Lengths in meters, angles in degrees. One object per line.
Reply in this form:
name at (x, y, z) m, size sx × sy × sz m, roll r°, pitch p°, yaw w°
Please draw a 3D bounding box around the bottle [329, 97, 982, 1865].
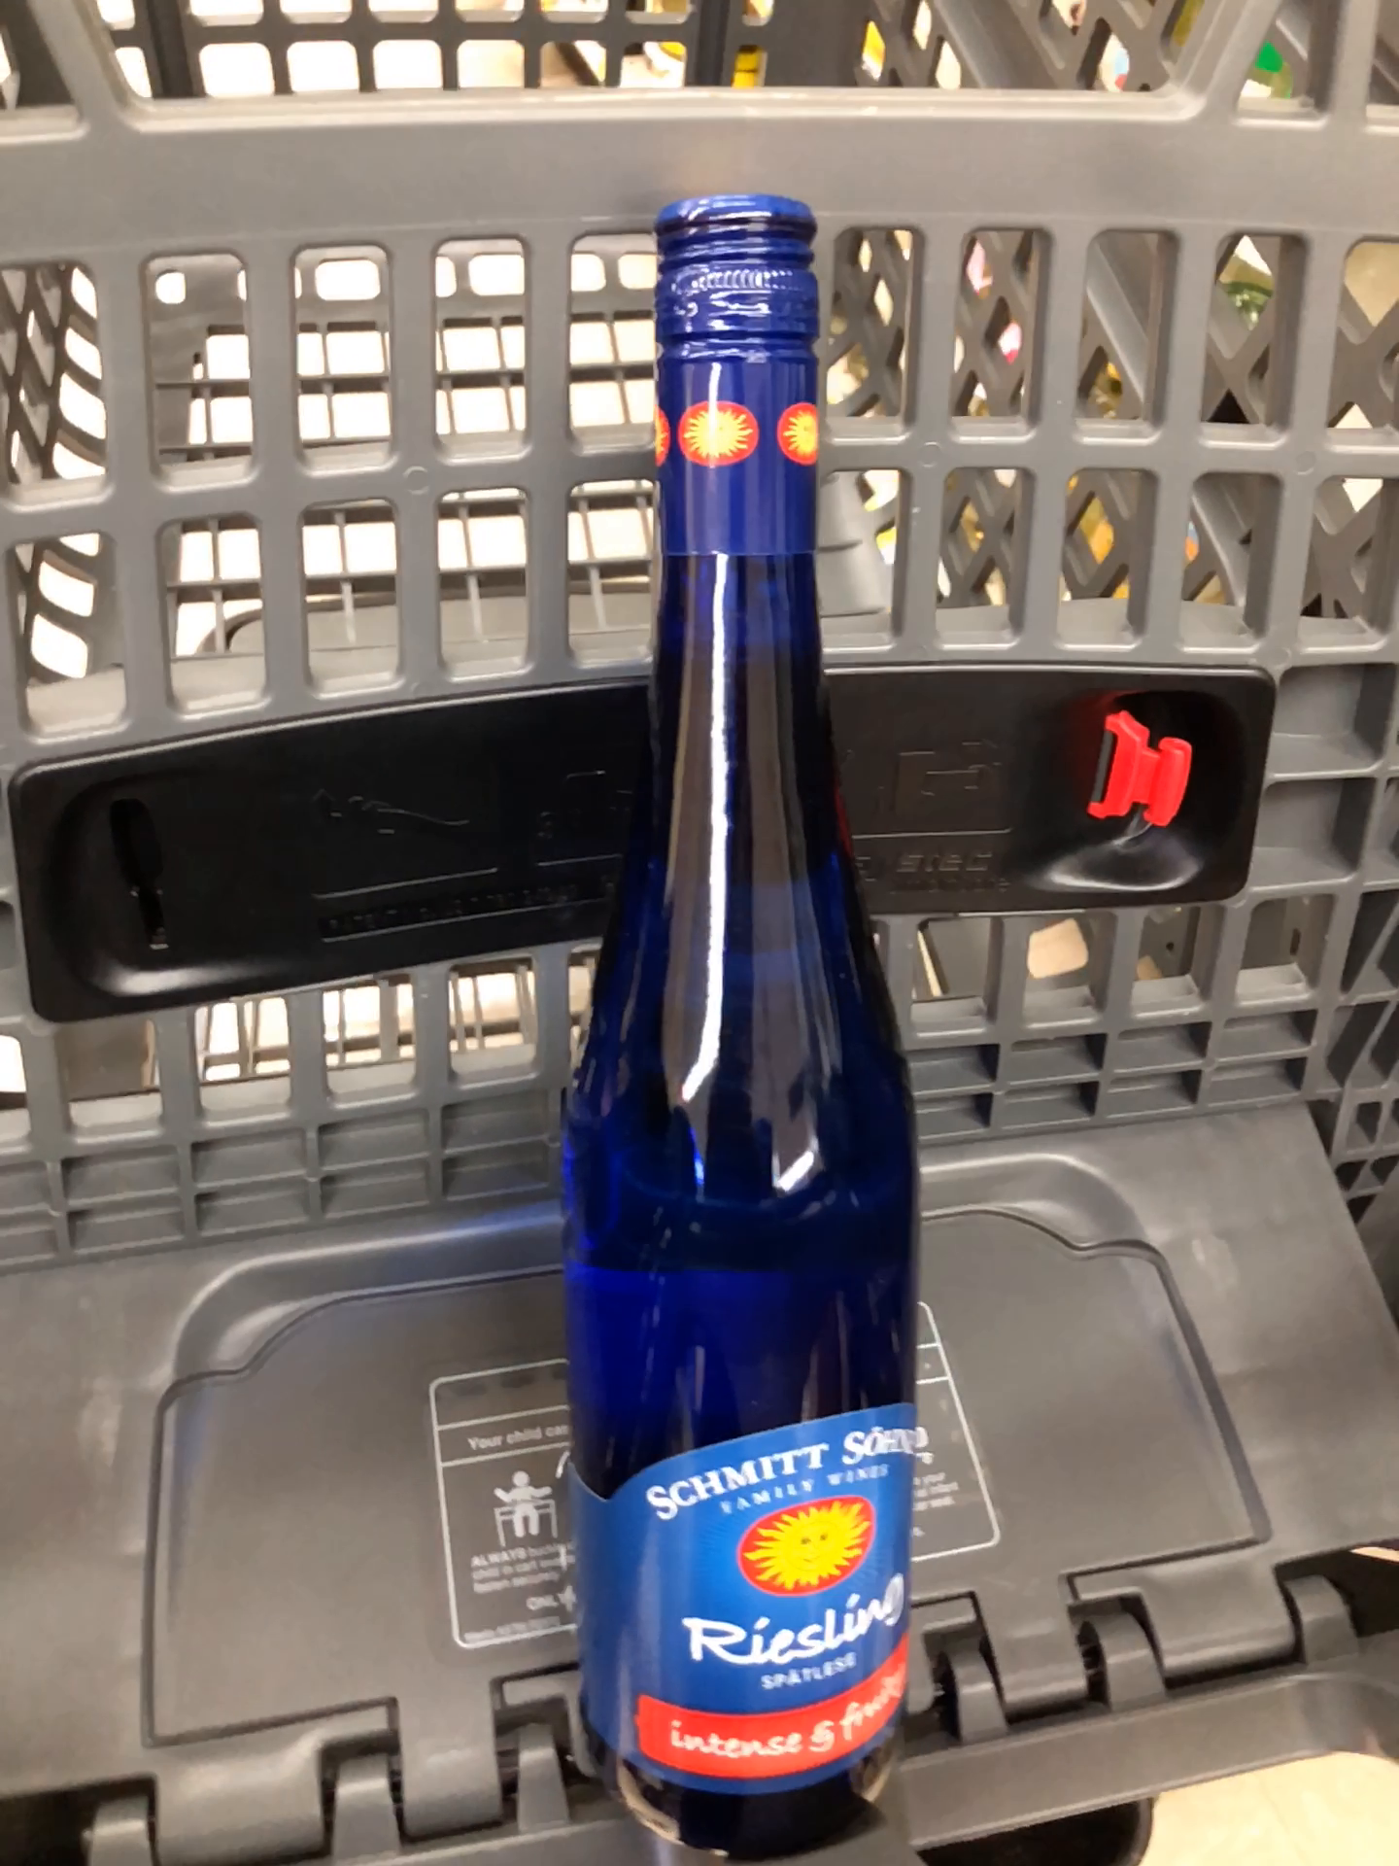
bottle at (-0.008, 0.029, 0.332) m, size 0.100 × 0.100 × 0.350 m, roll -6°, pitch 105°, yaw -15°
